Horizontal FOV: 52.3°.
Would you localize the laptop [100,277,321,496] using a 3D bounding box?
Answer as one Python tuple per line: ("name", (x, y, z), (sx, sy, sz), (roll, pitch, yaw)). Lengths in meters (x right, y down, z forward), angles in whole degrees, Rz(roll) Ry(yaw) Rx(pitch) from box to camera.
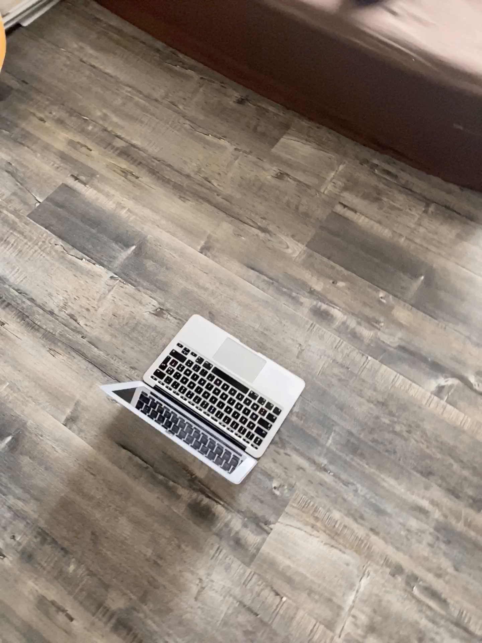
("laptop", (-0.052, 0.121, 0.922), (0.290, 0.160, 0.255), (31, 70, 13))
